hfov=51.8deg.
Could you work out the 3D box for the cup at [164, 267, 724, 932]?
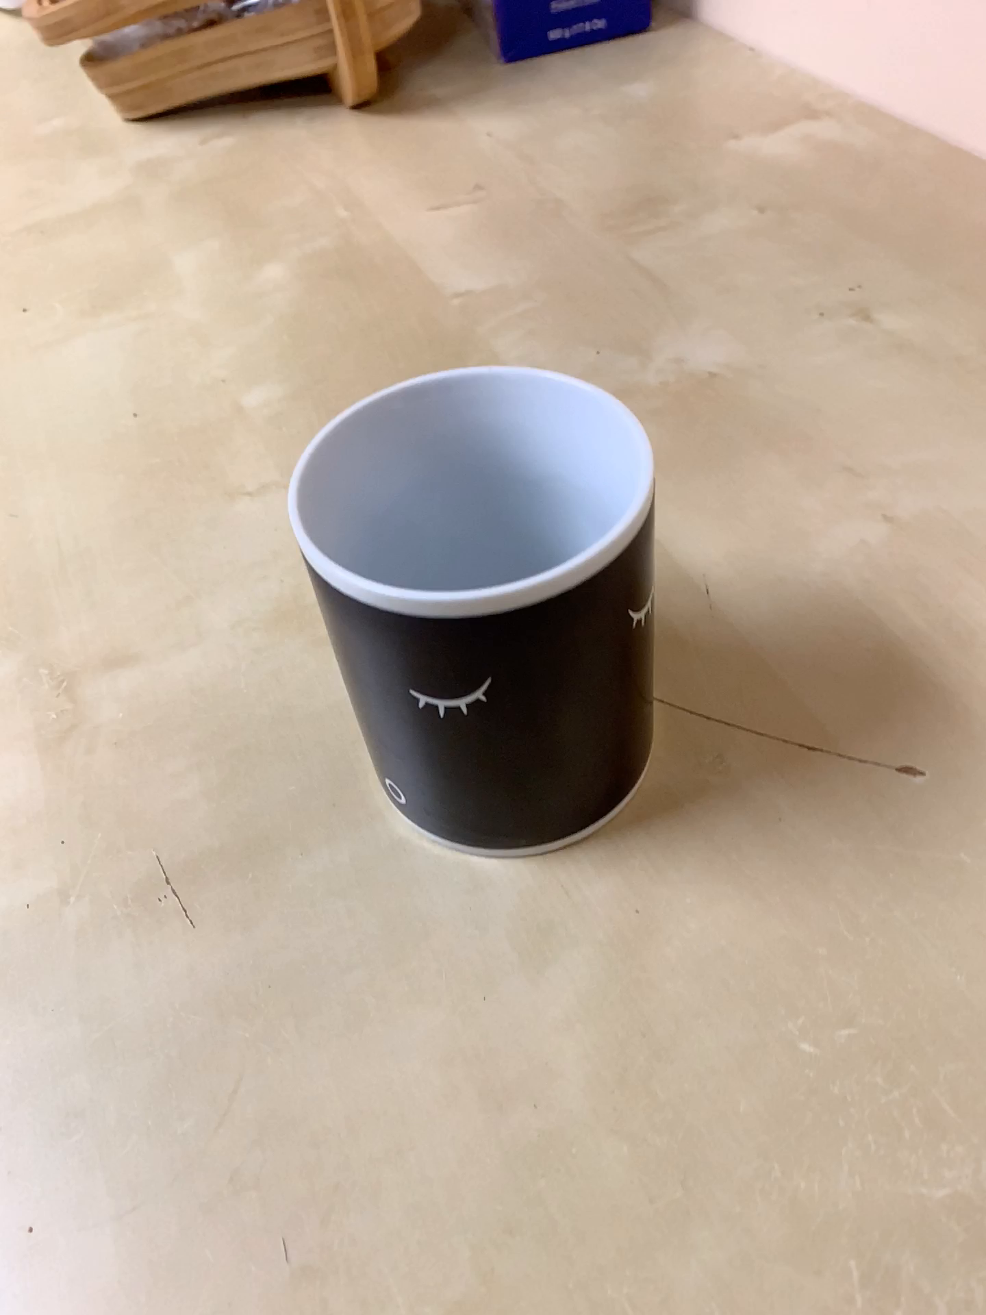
[{"bbox_3d":[-0.013,-0.019,0.269,0.083,0.101,0.122,-26,50,-15],"label":"cup"}]
